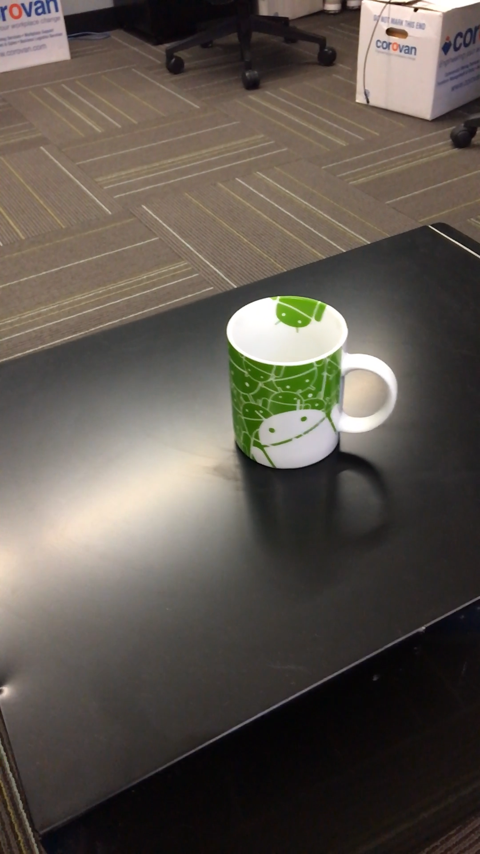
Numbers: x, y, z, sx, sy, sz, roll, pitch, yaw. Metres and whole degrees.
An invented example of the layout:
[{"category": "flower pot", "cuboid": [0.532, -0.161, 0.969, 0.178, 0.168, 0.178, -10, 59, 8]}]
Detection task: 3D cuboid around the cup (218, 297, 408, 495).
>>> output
[{"category": "cup", "cuboid": [0.052, -0.023, 0.520, 0.120, 0.110, 0.090, 1, 42, 6]}]
